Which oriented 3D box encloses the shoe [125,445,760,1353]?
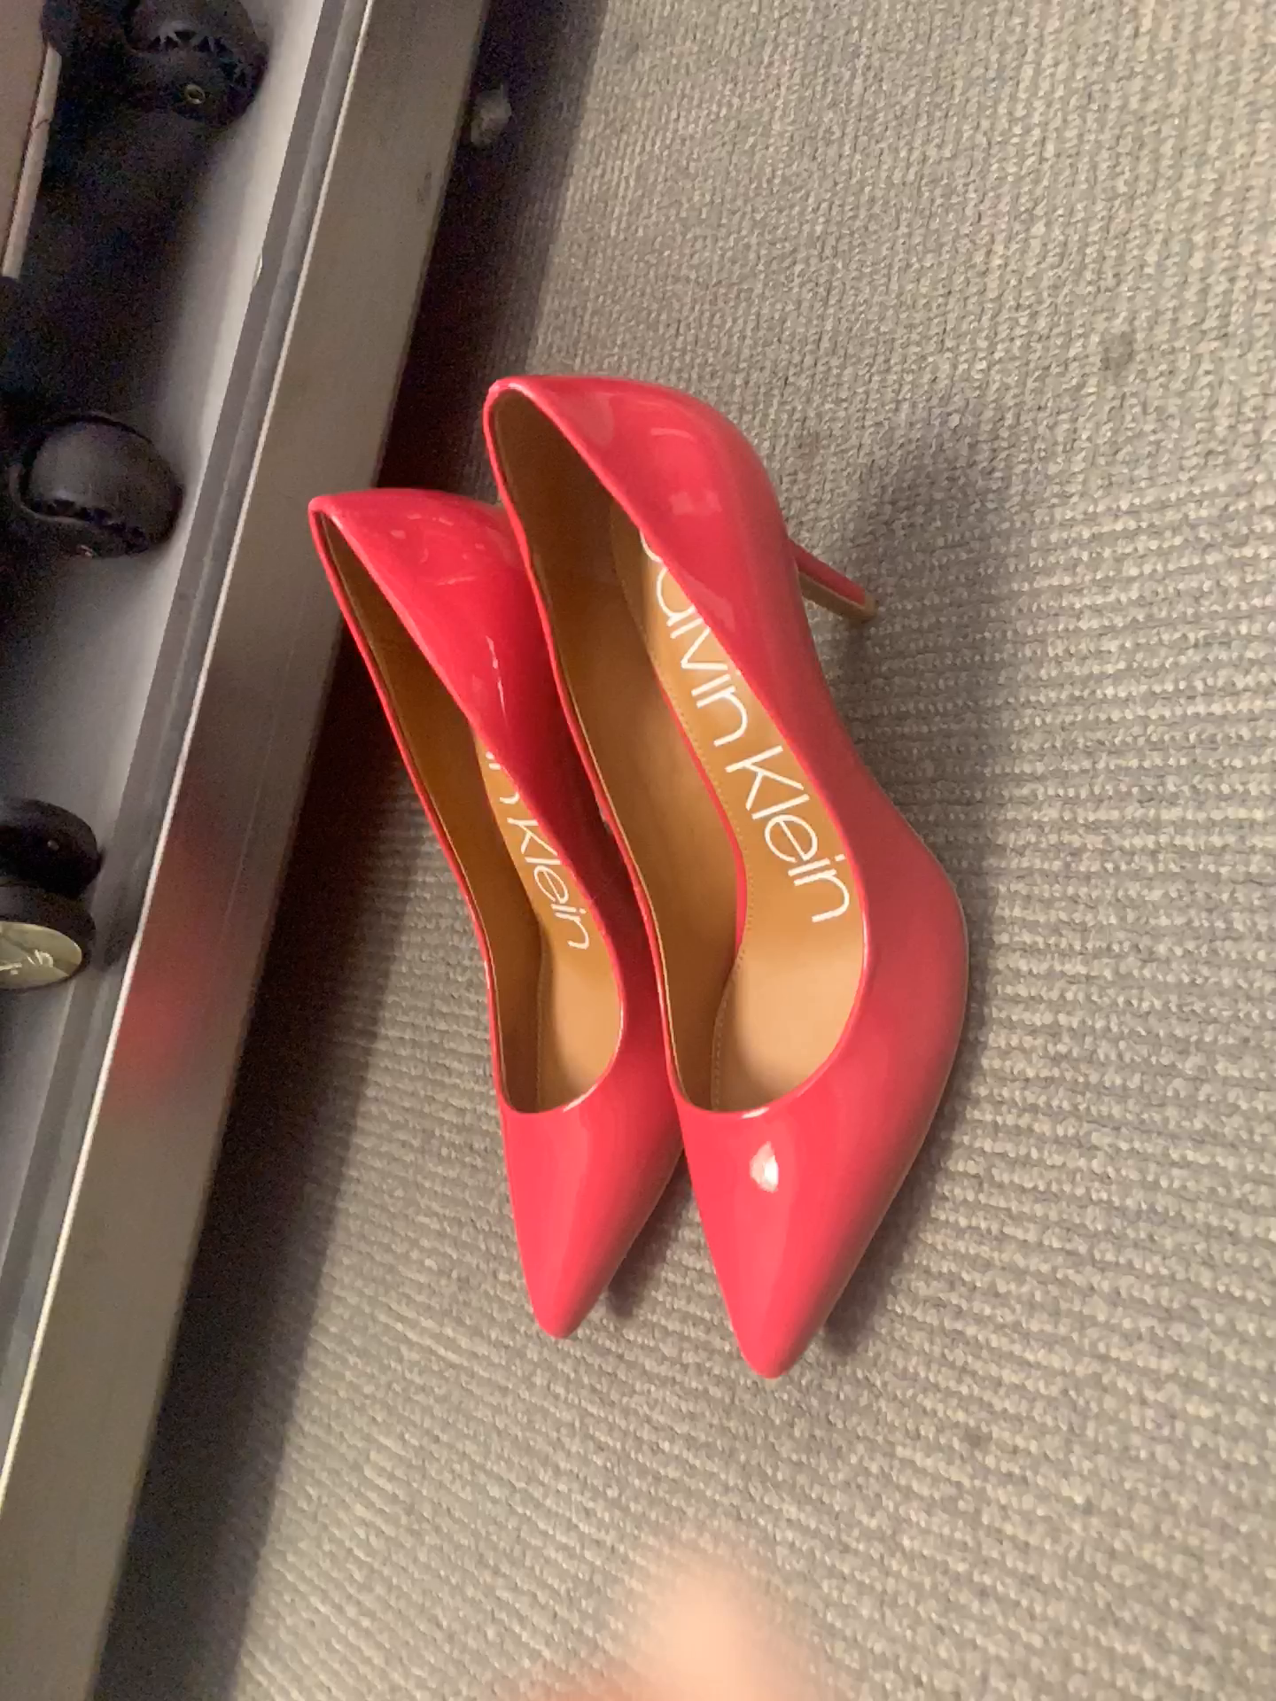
[{"bbox_3d":[-0.045,0.021,0.361,0.075,0.129,0.208,-9,70,47],"label":"shoe"}]

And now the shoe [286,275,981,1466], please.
[{"bbox_3d":[0.009,0.010,0.296,0.074,0.120,0.216,-9,70,47],"label":"shoe"}]
